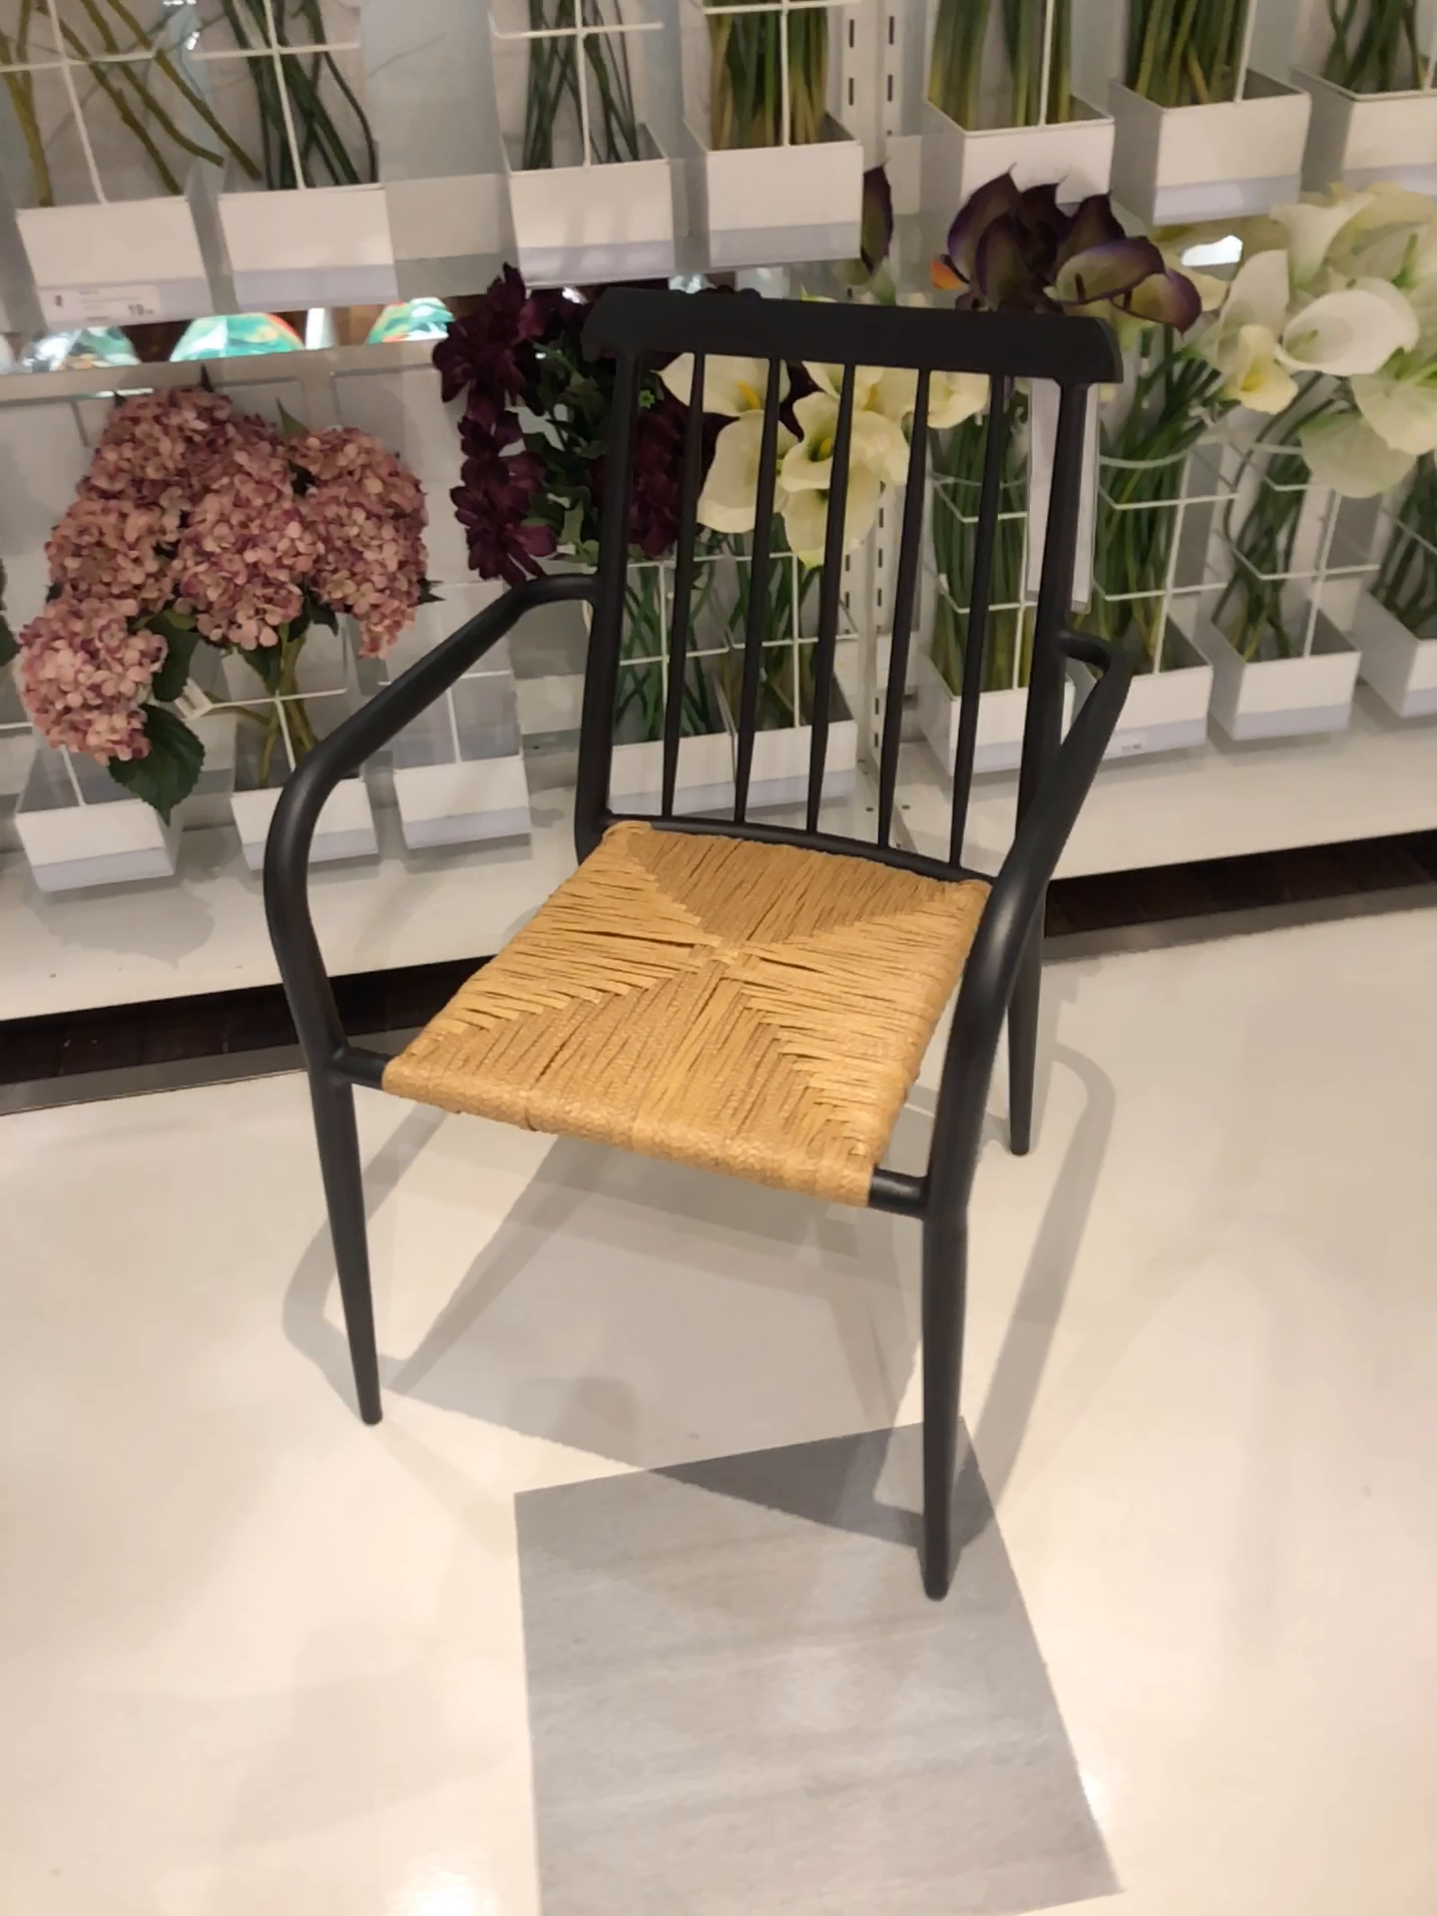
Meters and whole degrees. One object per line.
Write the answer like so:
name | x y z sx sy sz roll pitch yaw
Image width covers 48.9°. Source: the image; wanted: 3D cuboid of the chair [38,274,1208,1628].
chair | 0.006 -0.032 1.214 0.540 0.754 0.584 11 41 18
